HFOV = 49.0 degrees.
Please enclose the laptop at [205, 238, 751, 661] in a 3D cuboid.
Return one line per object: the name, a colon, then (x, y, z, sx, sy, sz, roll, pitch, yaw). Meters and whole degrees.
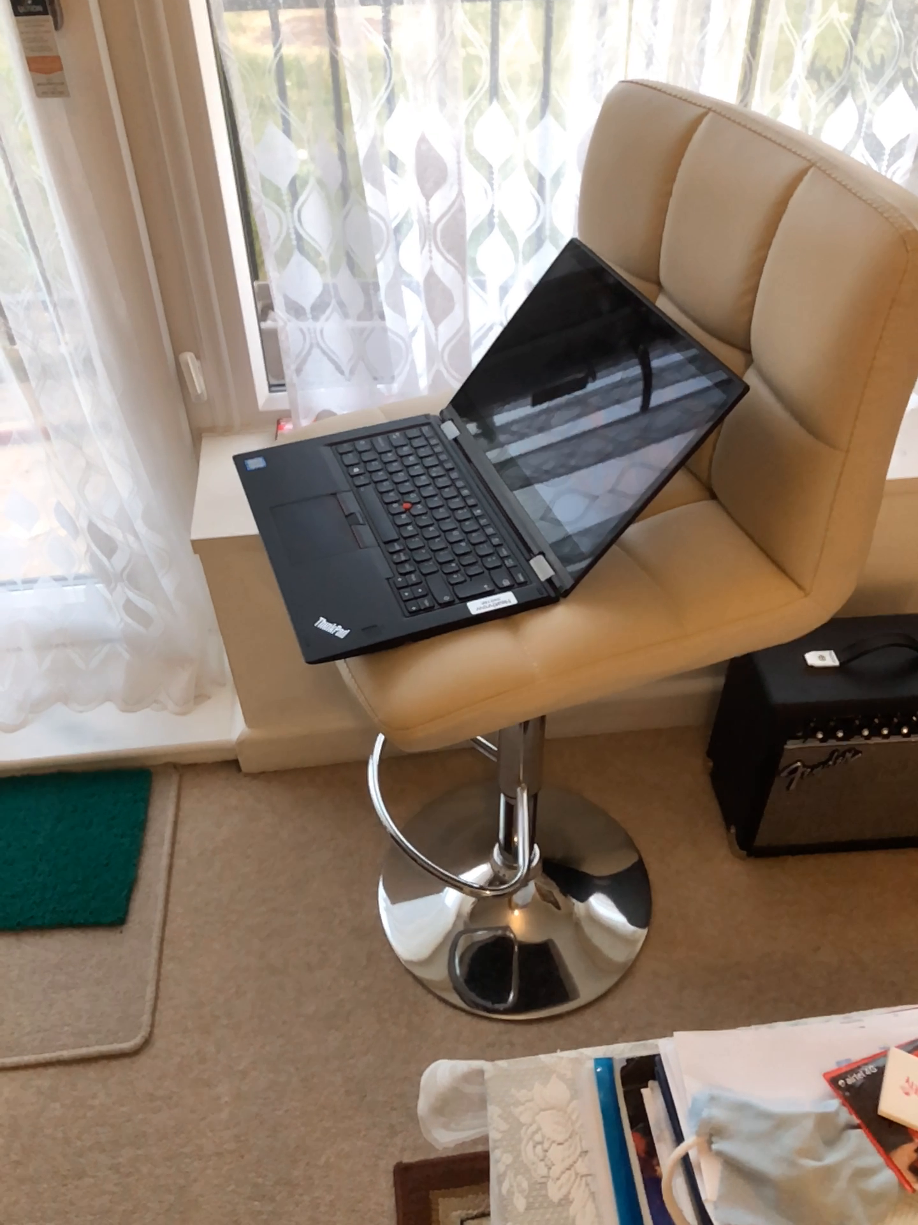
laptop: (0.000, -0.165, 0.895, 0.366, 0.165, 0.310, -15, 44, -14)
